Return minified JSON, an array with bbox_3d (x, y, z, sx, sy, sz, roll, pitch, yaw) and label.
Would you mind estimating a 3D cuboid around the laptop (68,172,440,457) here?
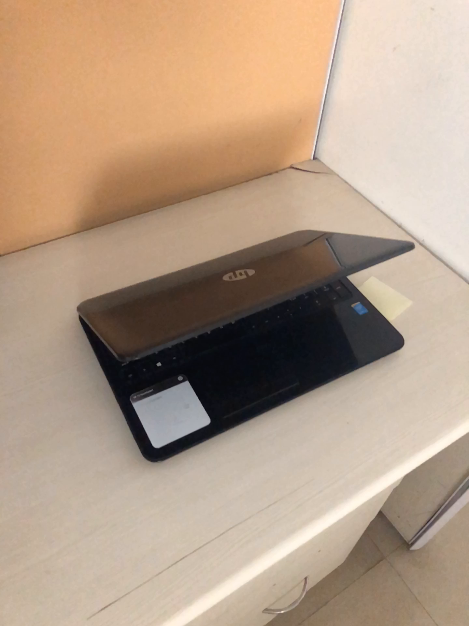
[{"bbox_3d":[0.017,-0.019,0.633,0.353,0.131,0.224,-20,52,-21],"label":"laptop"}]
